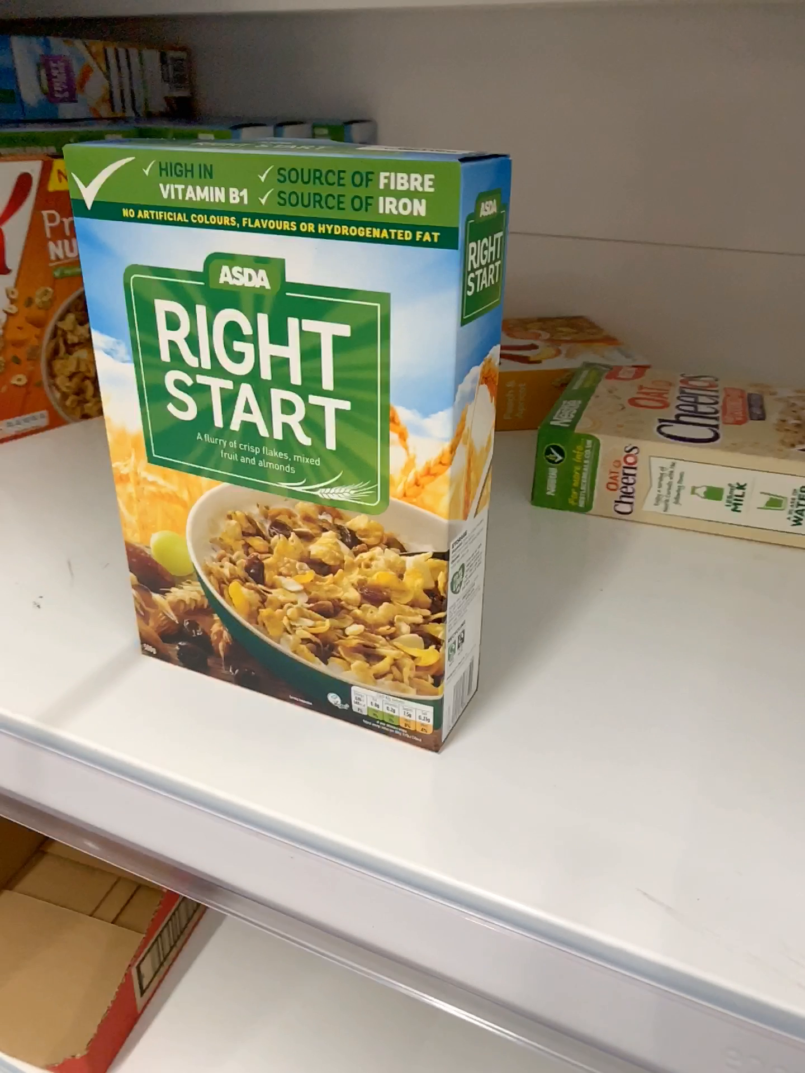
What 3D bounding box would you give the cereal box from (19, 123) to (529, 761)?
[{"bbox_3d":[-0.055,-0.047,0.400,0.200,0.268,0.071,13,31,22],"label":"cereal box"}]
